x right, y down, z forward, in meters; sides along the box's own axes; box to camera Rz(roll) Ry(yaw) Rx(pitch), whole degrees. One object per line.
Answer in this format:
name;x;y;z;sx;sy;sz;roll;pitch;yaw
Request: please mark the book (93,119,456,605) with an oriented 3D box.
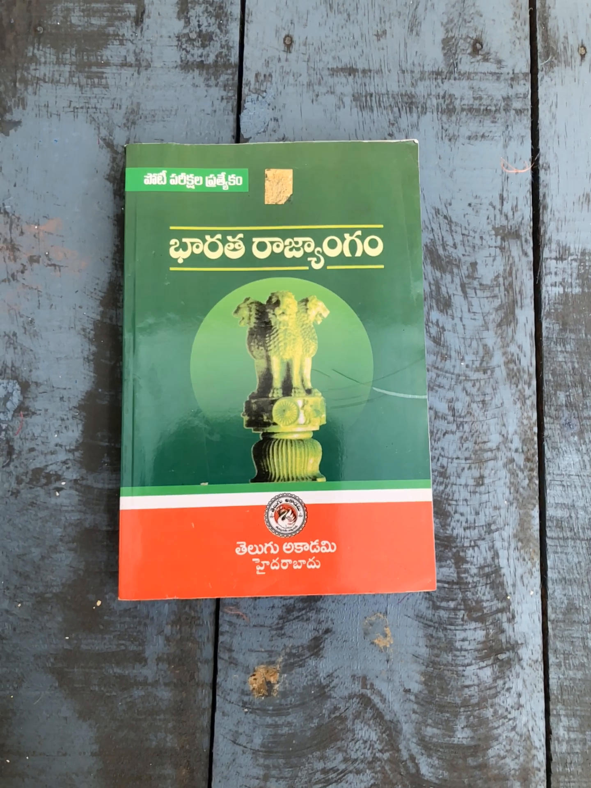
book;-0.012;-0.020;0.327;0.160;0.040;0.230;-1;81;-2
